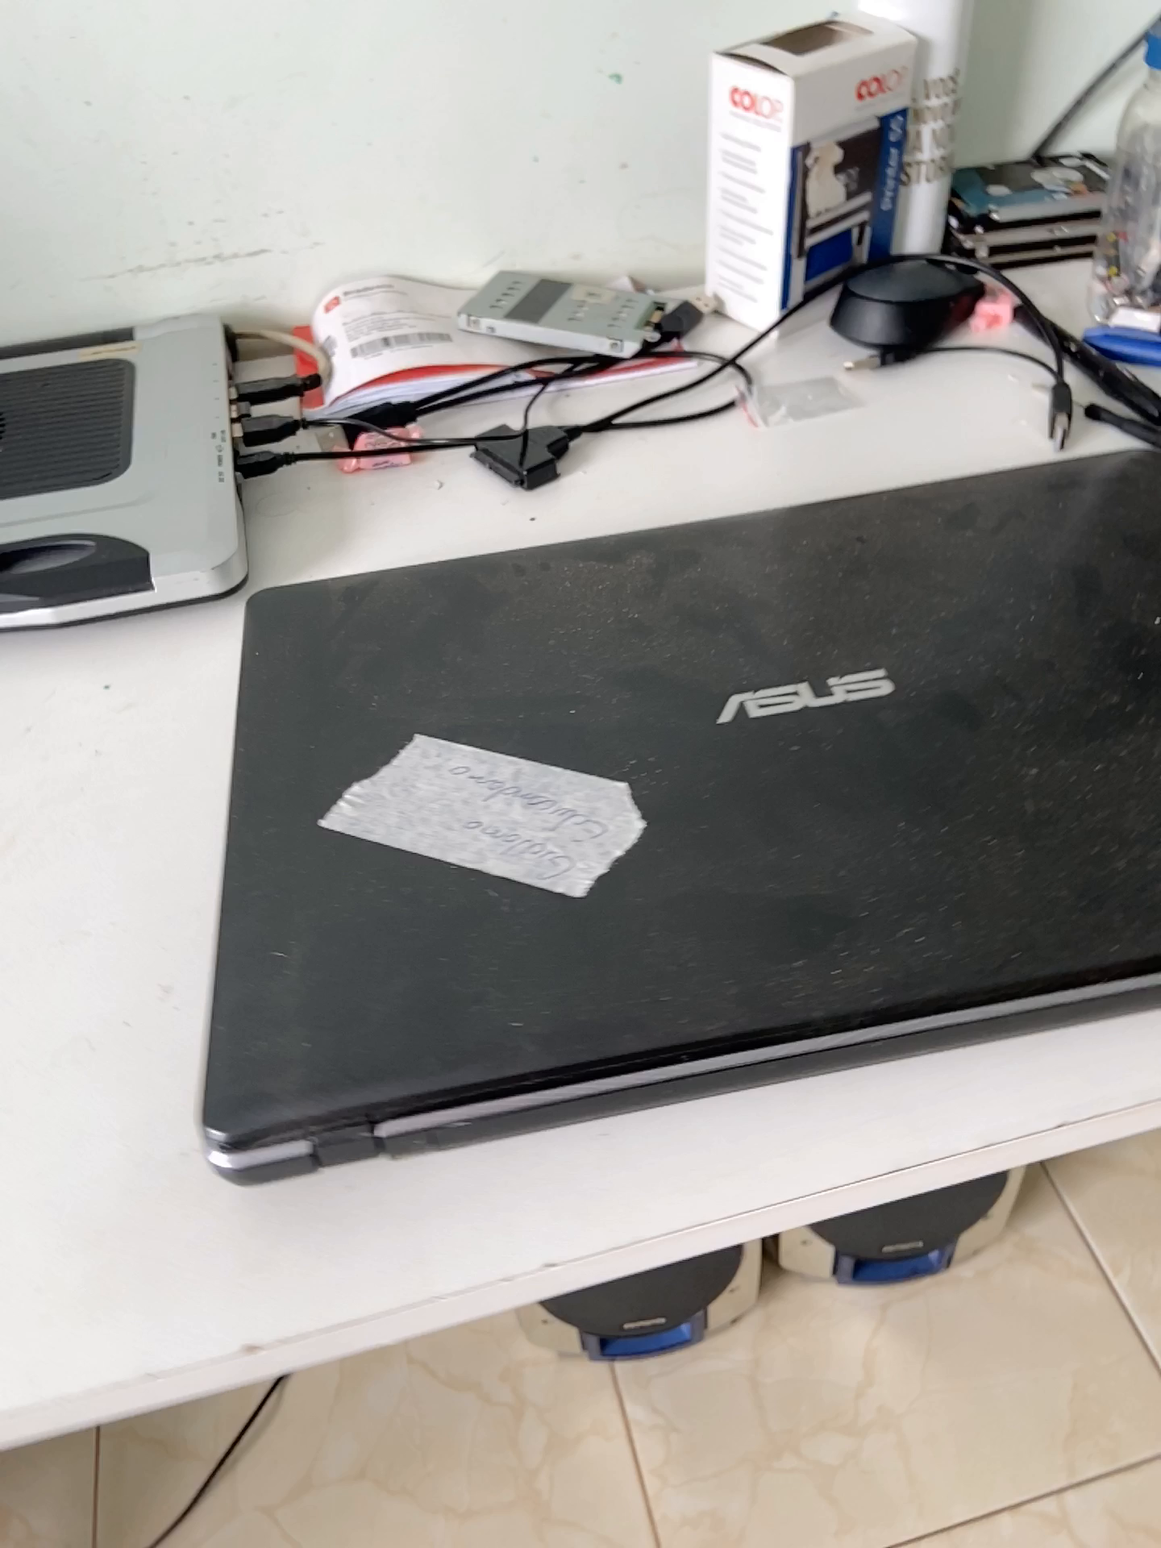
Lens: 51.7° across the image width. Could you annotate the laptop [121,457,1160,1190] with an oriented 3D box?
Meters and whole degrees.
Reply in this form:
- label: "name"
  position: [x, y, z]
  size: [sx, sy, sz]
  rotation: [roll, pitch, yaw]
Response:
- label: "laptop"
  position: [0.060, -0.015, 0.402]
  size: [0.385, 0.007, 0.252]
  rotation: [-10, 42, -4]
